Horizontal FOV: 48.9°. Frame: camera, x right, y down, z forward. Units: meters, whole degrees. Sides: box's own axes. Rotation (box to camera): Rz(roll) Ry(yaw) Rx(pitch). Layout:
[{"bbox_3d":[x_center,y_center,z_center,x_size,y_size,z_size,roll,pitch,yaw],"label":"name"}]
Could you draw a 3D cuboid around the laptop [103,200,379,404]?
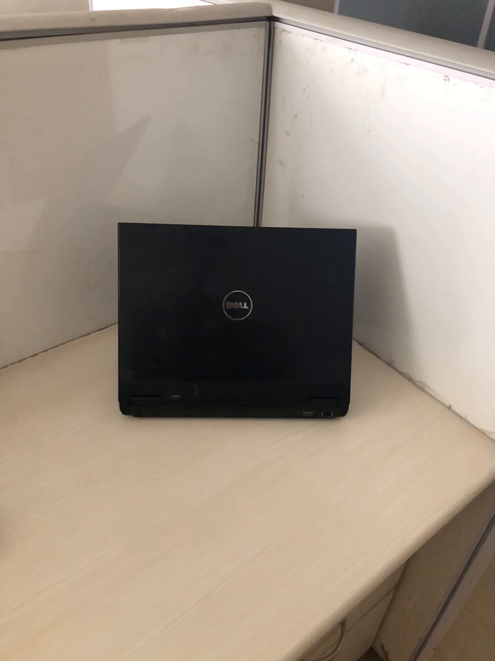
[{"bbox_3d":[-0.013,-0.045,0.751,0.303,0.190,0.231,1,35,-3],"label":"laptop"}]
